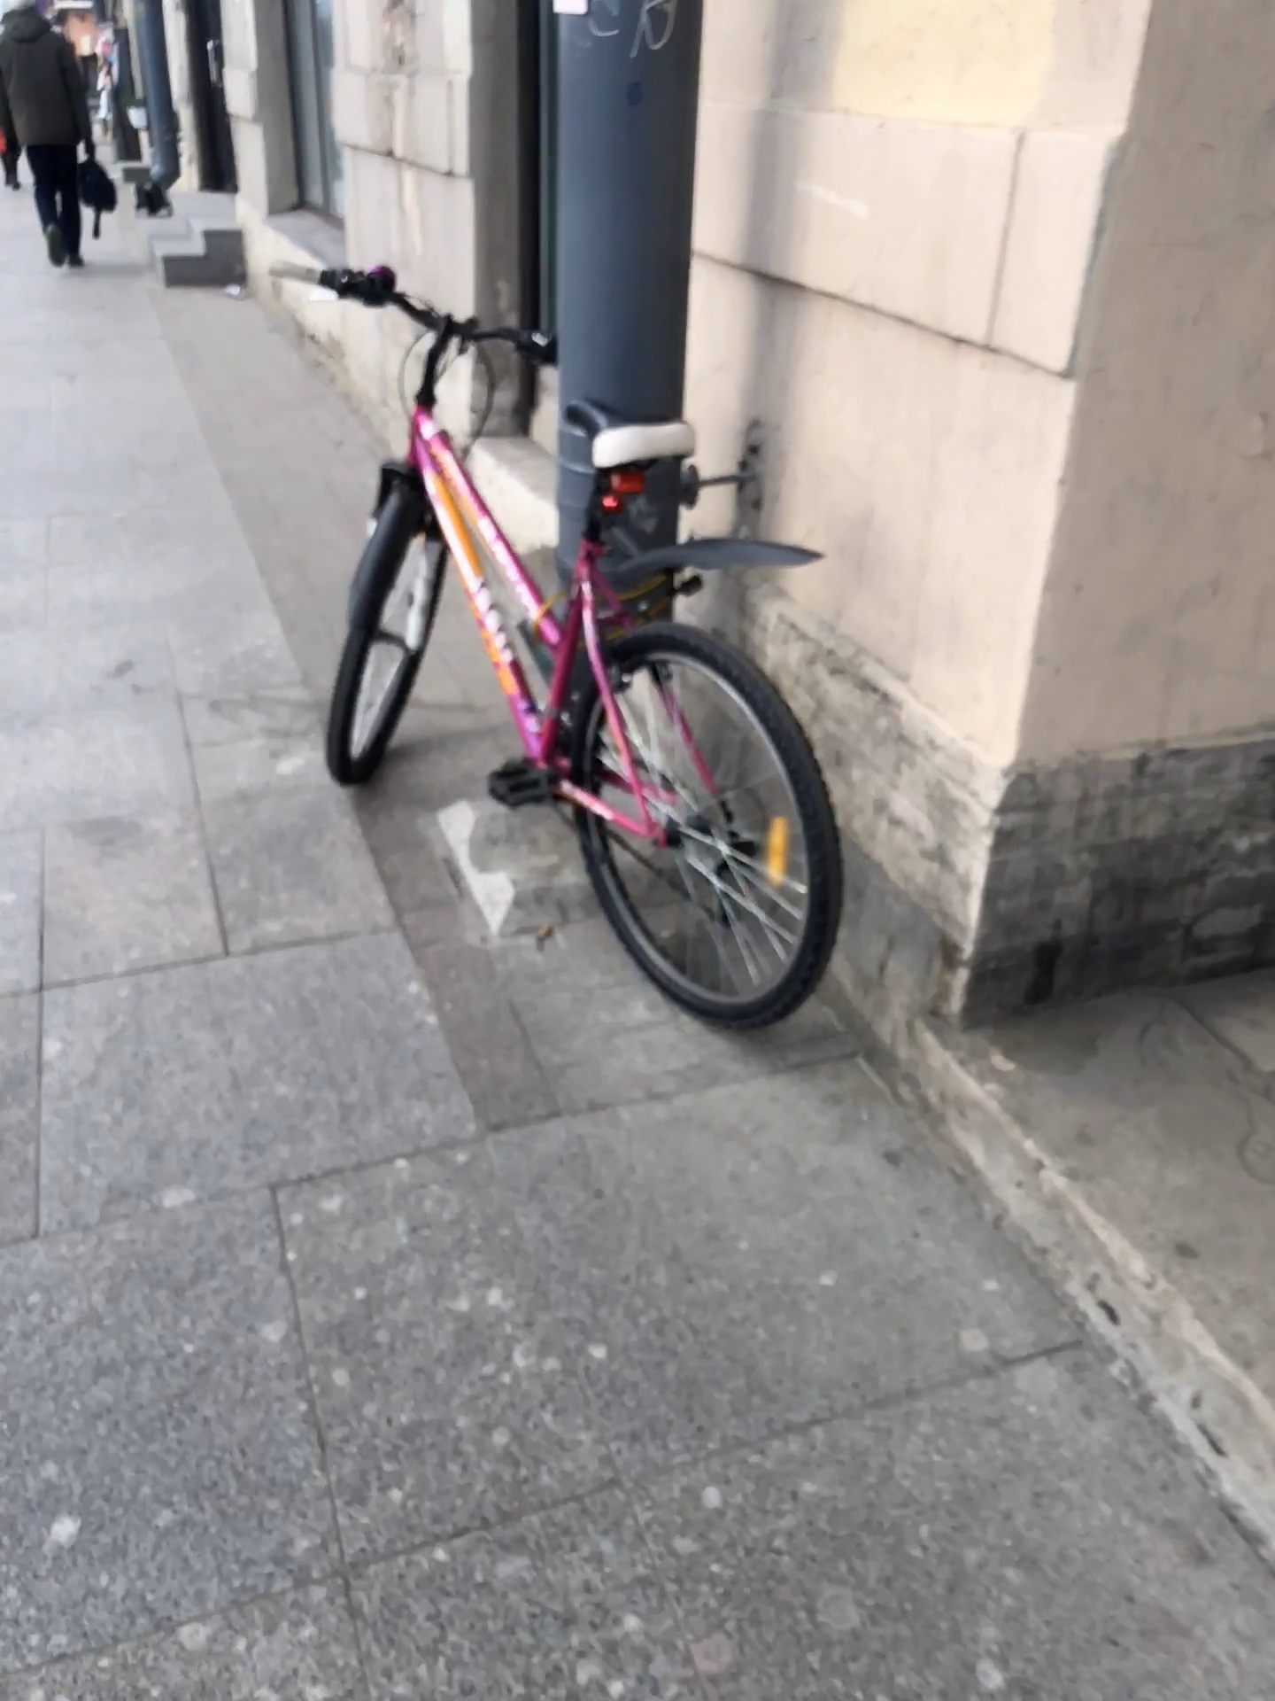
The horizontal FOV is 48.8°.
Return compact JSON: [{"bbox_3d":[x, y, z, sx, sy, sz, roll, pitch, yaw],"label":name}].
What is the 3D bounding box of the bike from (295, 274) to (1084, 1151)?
[{"bbox_3d":[-0.065,-0.419,2.471,0.622,0.974,1.582,-12,30,-25],"label":"bike"}]
